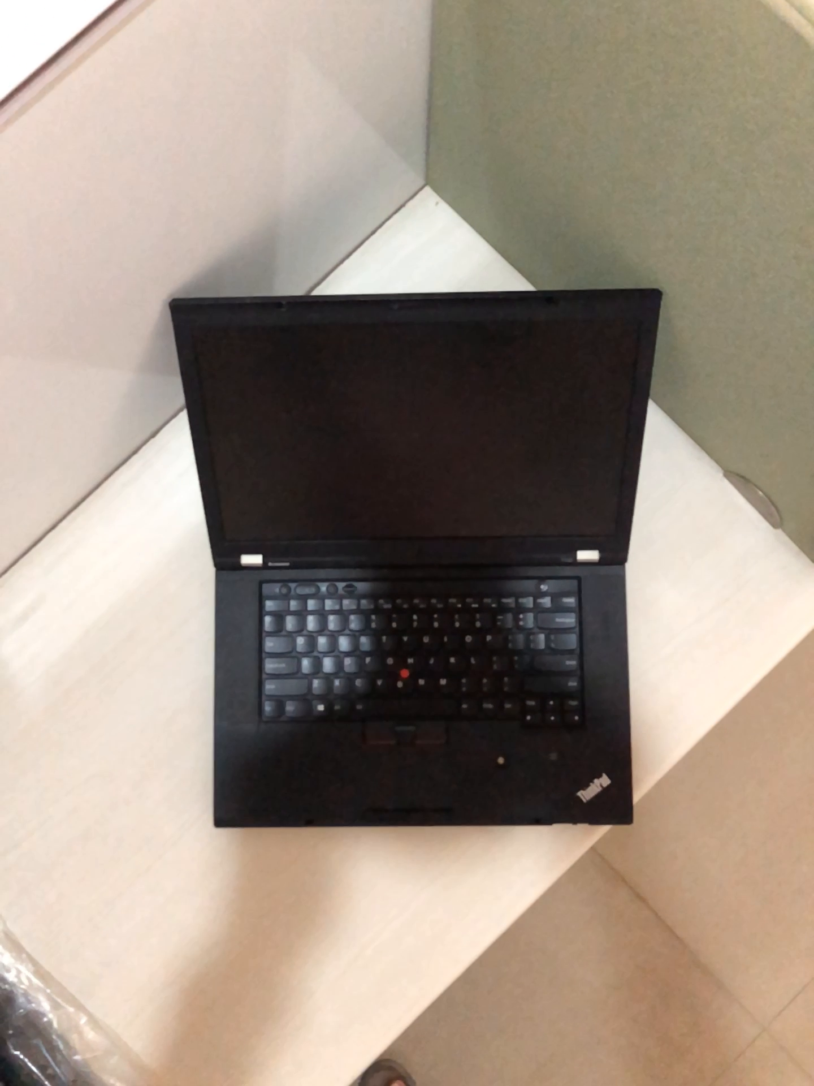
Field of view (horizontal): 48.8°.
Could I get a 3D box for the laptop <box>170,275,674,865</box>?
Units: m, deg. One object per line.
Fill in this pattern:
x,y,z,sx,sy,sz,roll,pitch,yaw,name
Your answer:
0.011,0.028,0.704,0.353,0.142,0.411,0,88,2,laptop
